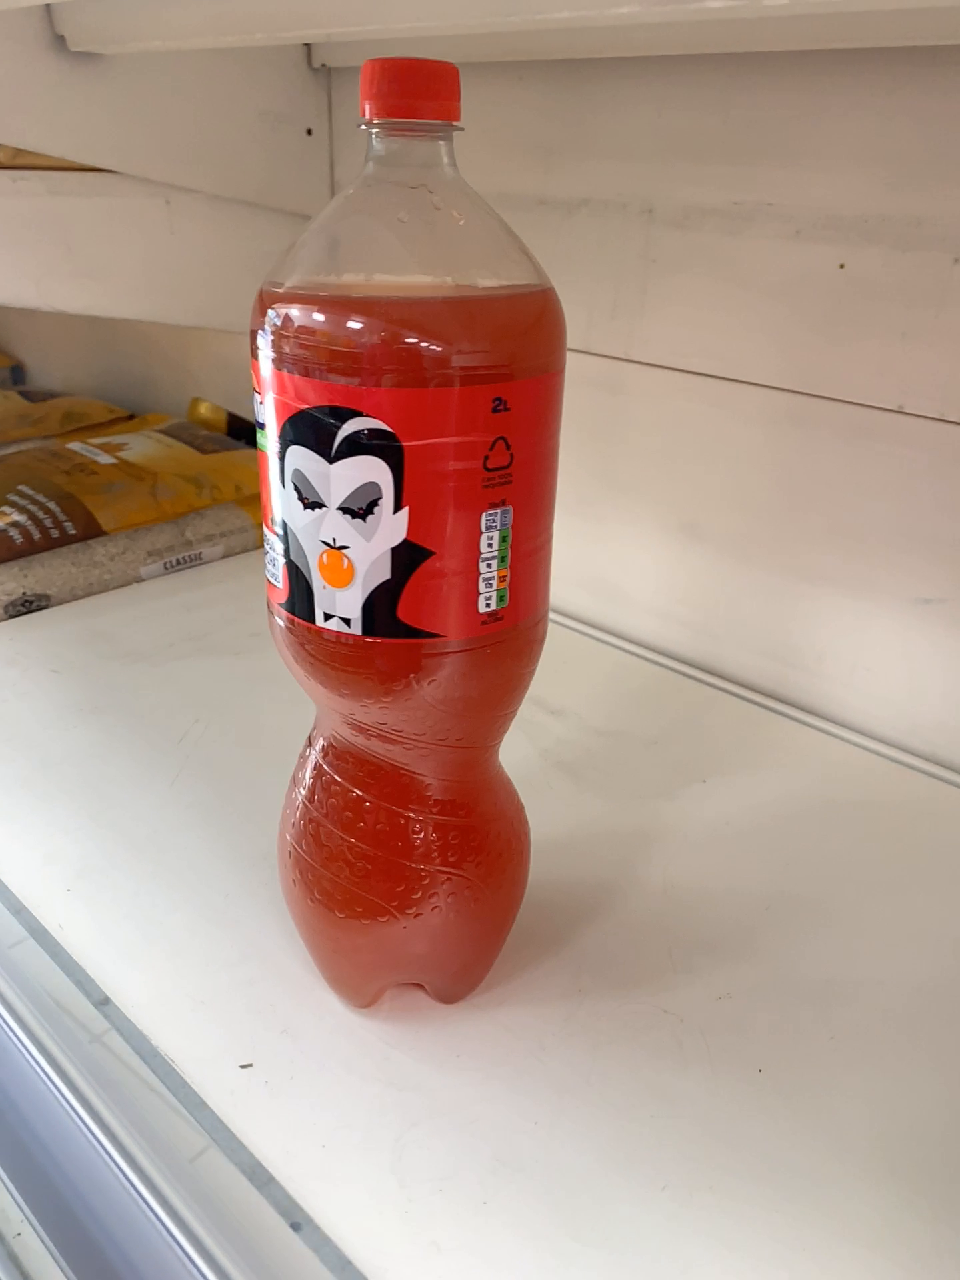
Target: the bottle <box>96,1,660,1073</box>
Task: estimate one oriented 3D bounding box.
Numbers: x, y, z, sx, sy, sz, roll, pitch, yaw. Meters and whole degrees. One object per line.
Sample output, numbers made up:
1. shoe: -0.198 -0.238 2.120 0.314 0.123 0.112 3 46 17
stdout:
1. bottle: -0.031 -0.028 0.358 0.120 0.327 0.111 1 26 -1
